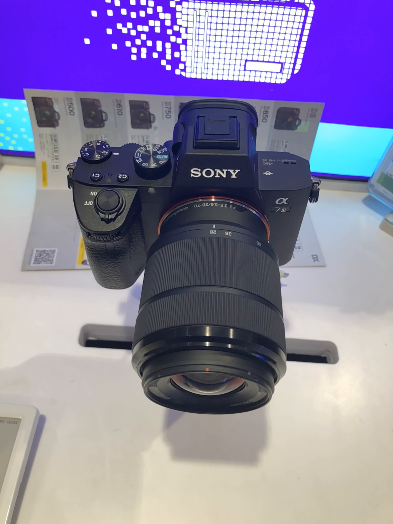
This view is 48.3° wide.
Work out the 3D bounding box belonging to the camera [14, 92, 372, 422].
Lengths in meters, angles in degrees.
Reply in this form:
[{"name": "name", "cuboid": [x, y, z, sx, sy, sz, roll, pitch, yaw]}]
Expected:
[{"name": "camera", "cuboid": [-0.006, -0.001, 0.228, 0.120, 0.109, 0.128, 0, 51, -5]}]
